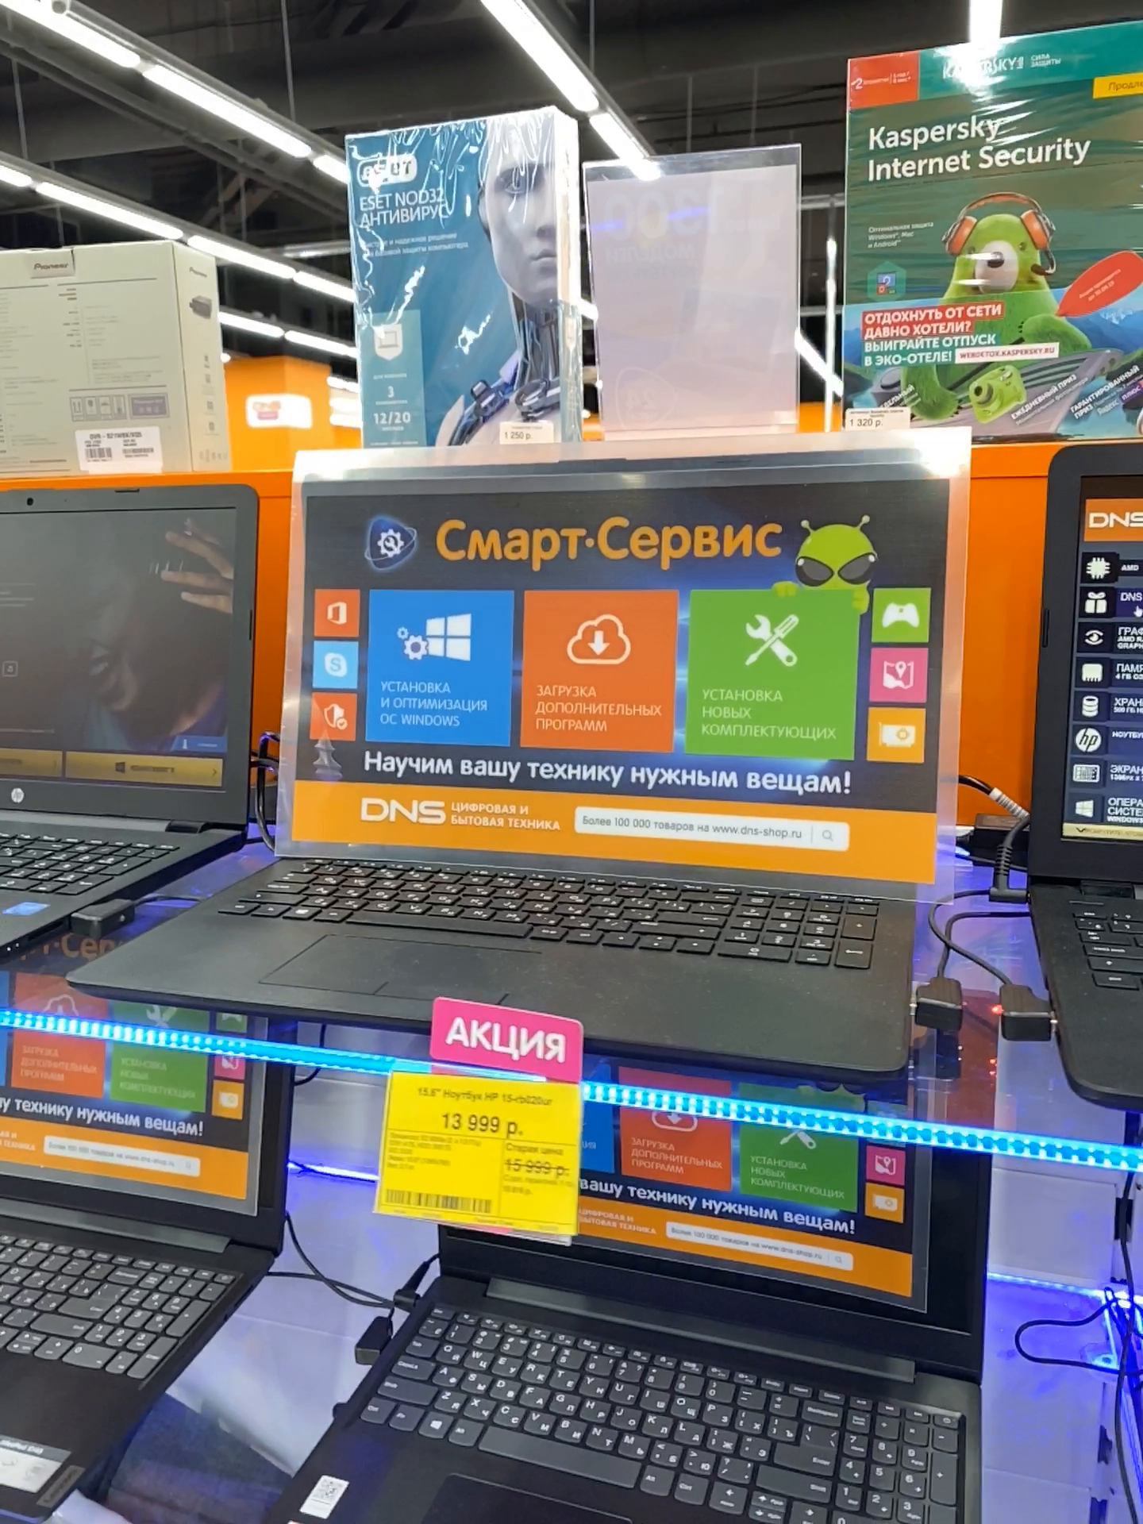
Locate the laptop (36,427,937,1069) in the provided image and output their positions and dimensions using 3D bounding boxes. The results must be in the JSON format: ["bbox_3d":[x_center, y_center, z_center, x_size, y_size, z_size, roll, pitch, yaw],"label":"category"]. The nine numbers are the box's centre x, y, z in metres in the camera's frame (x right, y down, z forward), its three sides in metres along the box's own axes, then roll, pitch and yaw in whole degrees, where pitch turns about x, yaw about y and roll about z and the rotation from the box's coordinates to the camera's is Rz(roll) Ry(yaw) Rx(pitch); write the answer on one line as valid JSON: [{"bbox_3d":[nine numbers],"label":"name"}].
[{"bbox_3d":[-0.017,-0.033,0.602,0.377,0.235,0.262,2,12,18],"label":"laptop"}]
